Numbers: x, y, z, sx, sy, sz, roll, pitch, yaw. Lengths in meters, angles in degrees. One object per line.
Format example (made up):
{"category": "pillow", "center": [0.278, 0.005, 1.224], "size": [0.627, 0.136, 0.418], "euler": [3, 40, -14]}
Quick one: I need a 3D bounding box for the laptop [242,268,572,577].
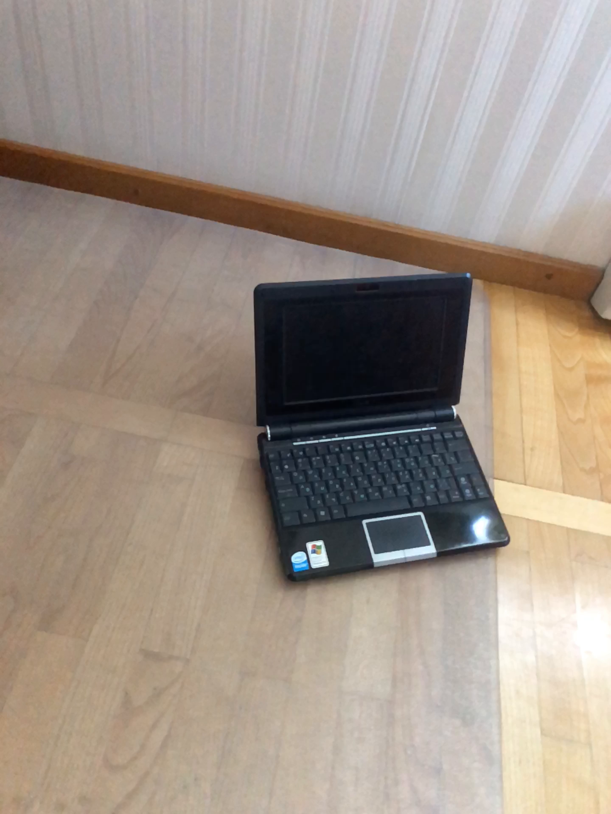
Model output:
{"category": "laptop", "center": [0.090, 0.006, 0.759], "size": [0.264, 0.159, 0.277], "euler": [-5, 54, -15]}
